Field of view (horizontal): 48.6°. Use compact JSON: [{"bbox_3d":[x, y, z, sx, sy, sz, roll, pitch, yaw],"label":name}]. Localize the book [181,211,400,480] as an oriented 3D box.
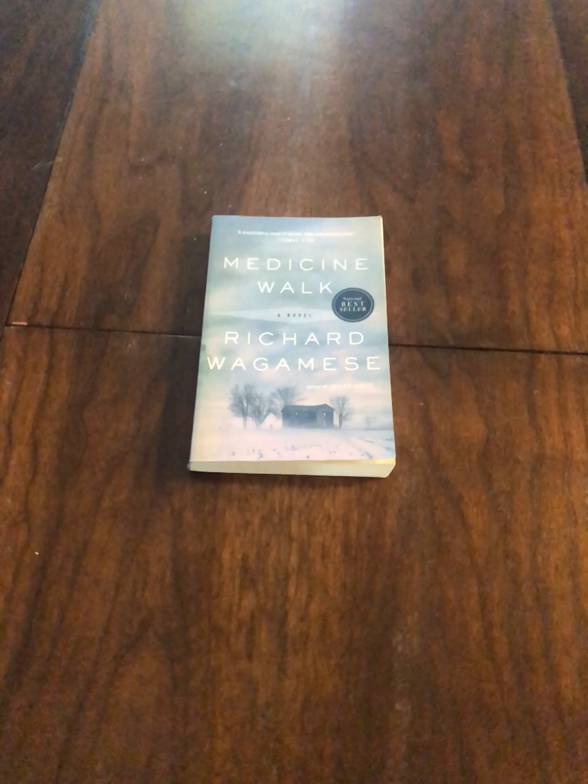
[{"bbox_3d":[0.000,-0.041,0.469,0.138,0.027,0.206,2,63,0],"label":"book"}]
